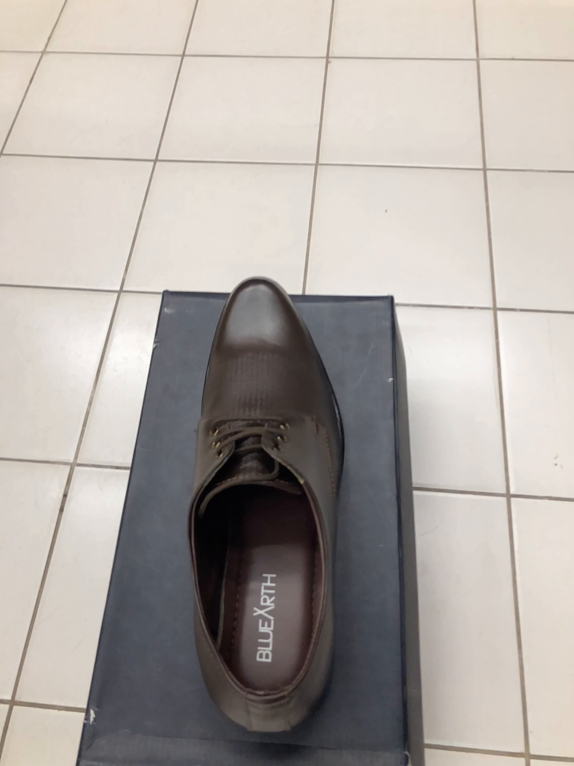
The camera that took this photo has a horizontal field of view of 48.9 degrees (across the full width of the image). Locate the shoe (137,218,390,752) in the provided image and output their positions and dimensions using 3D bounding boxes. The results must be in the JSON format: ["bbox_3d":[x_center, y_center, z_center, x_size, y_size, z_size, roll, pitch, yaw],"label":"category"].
[{"bbox_3d":[-0.008,0.050,0.388,0.110,0.100,0.301,-1,62,2],"label":"shoe"}]
